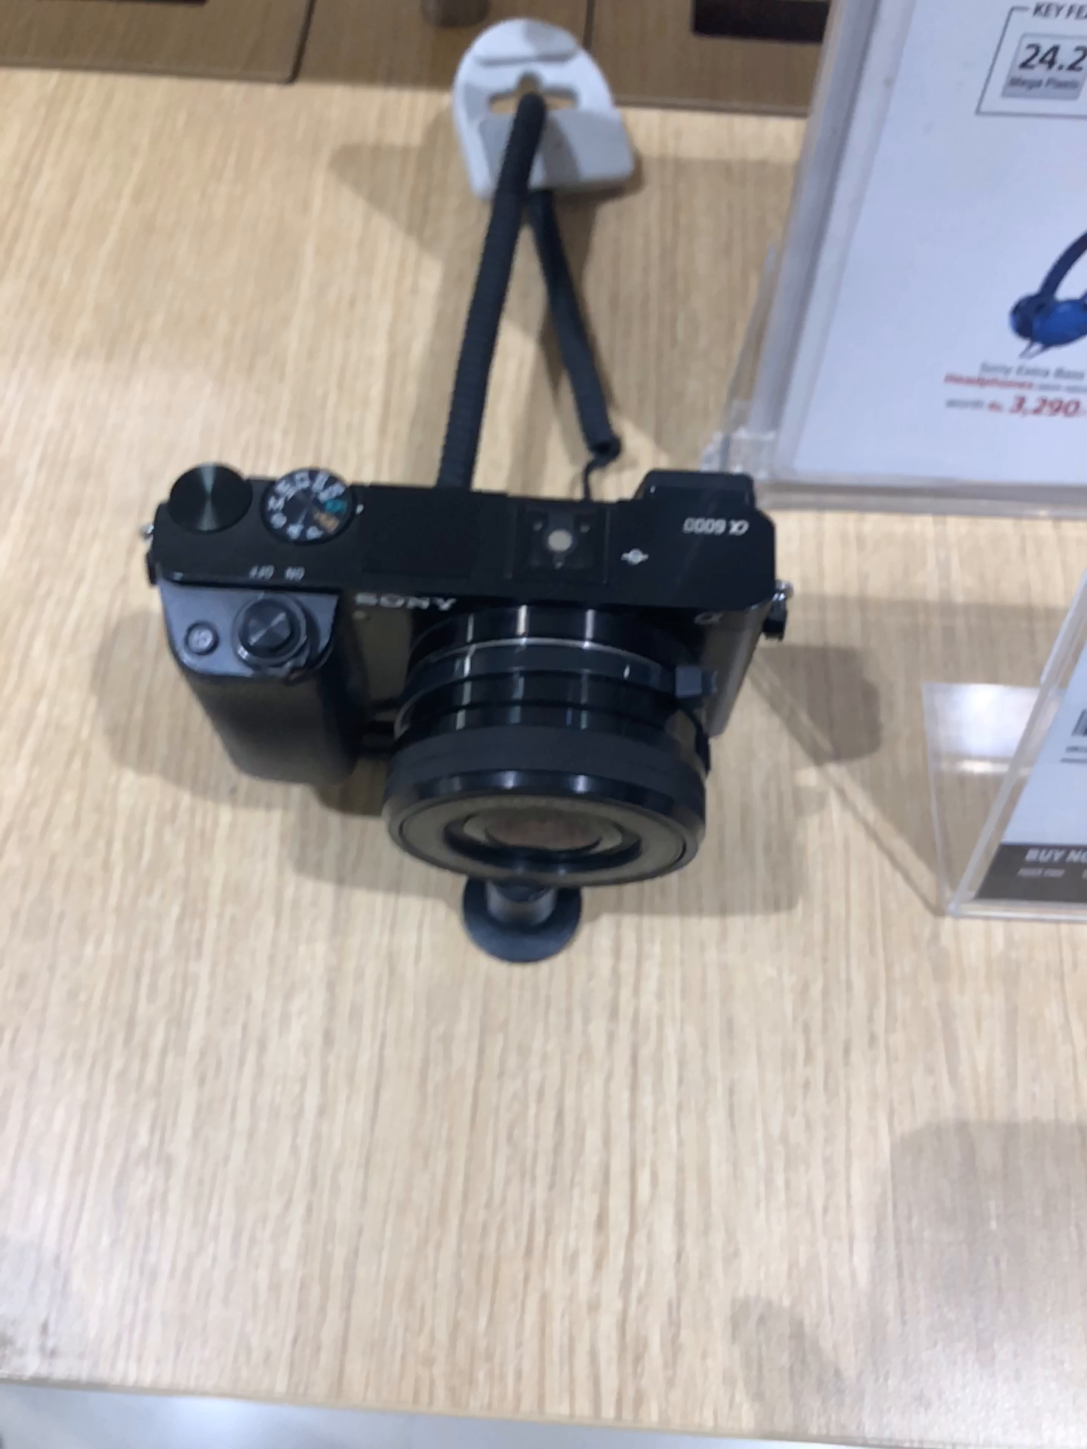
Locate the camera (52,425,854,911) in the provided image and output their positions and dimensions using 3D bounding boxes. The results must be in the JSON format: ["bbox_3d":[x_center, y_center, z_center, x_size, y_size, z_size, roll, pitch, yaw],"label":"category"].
[{"bbox_3d":[-0.014,-0.008,0.245,0.130,0.070,0.070,1,65,0],"label":"camera"}]
